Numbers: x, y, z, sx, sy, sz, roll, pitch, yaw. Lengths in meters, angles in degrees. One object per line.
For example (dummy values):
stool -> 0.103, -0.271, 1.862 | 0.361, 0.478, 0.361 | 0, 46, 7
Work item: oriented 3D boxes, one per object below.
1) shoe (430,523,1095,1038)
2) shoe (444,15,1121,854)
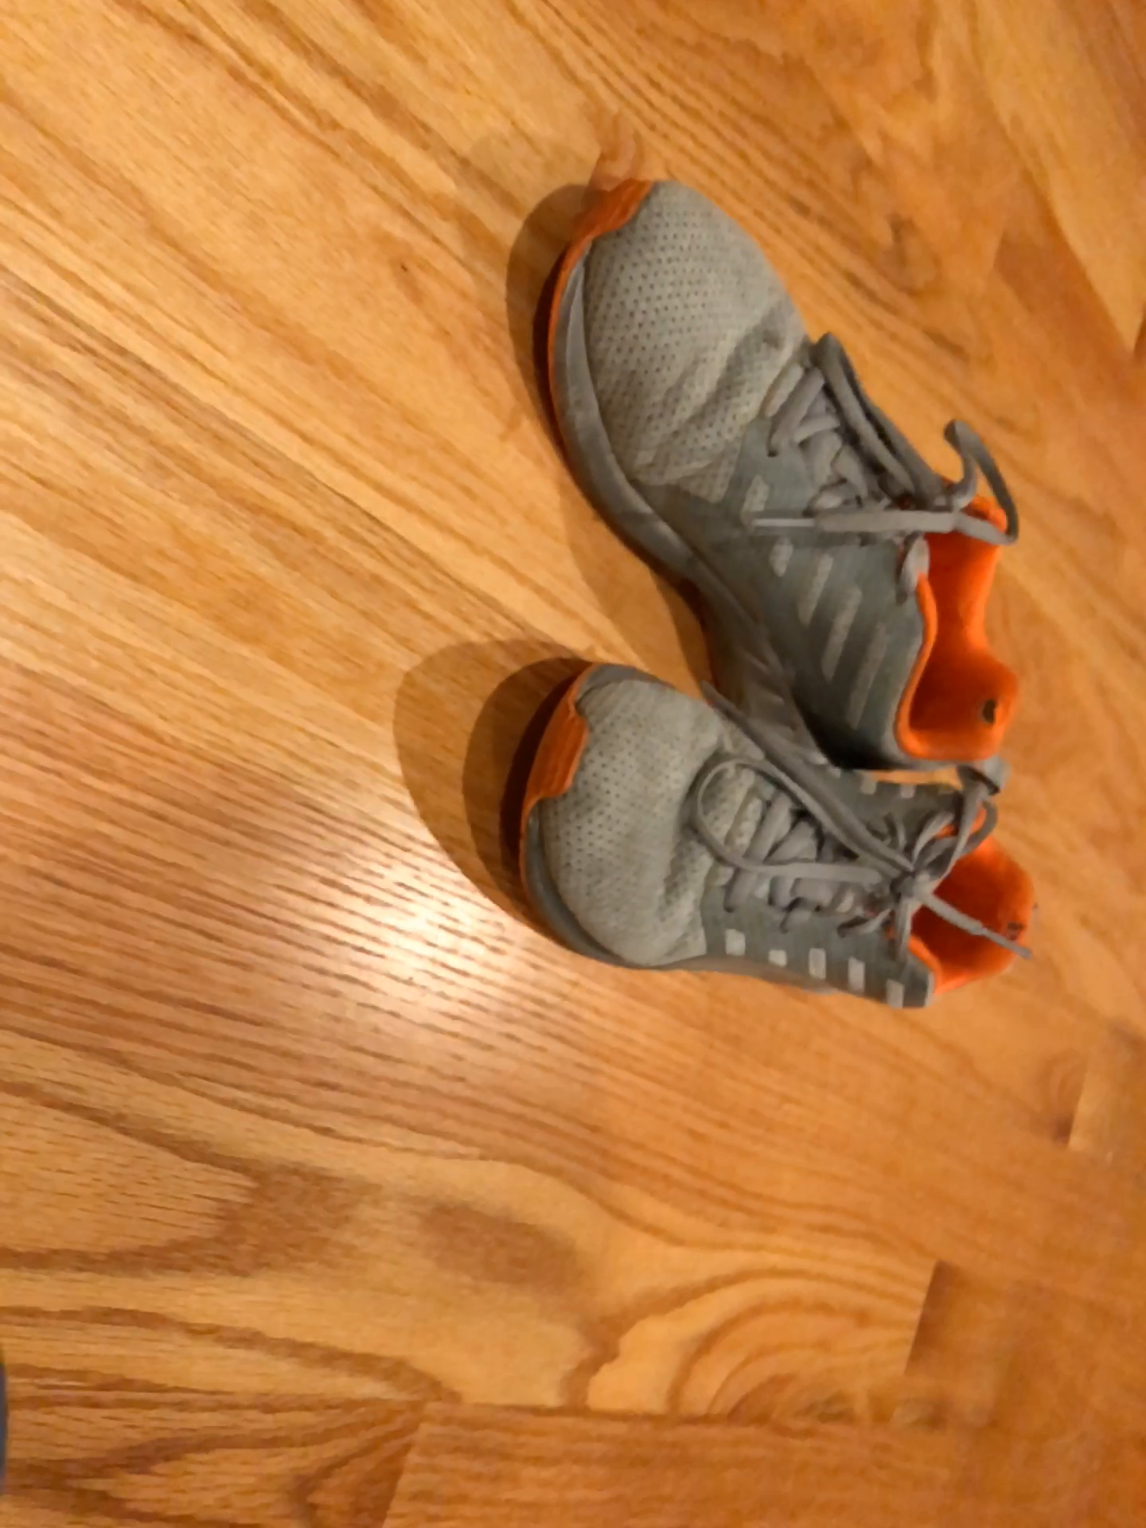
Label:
shoe -> 0.084, 0.017, 0.446 | 0.251, 0.080, 0.110 | 21, 81, -44
shoe -> 0.086, -0.090, 0.431 | 0.251, 0.100, 0.100 | 50, 63, -37
